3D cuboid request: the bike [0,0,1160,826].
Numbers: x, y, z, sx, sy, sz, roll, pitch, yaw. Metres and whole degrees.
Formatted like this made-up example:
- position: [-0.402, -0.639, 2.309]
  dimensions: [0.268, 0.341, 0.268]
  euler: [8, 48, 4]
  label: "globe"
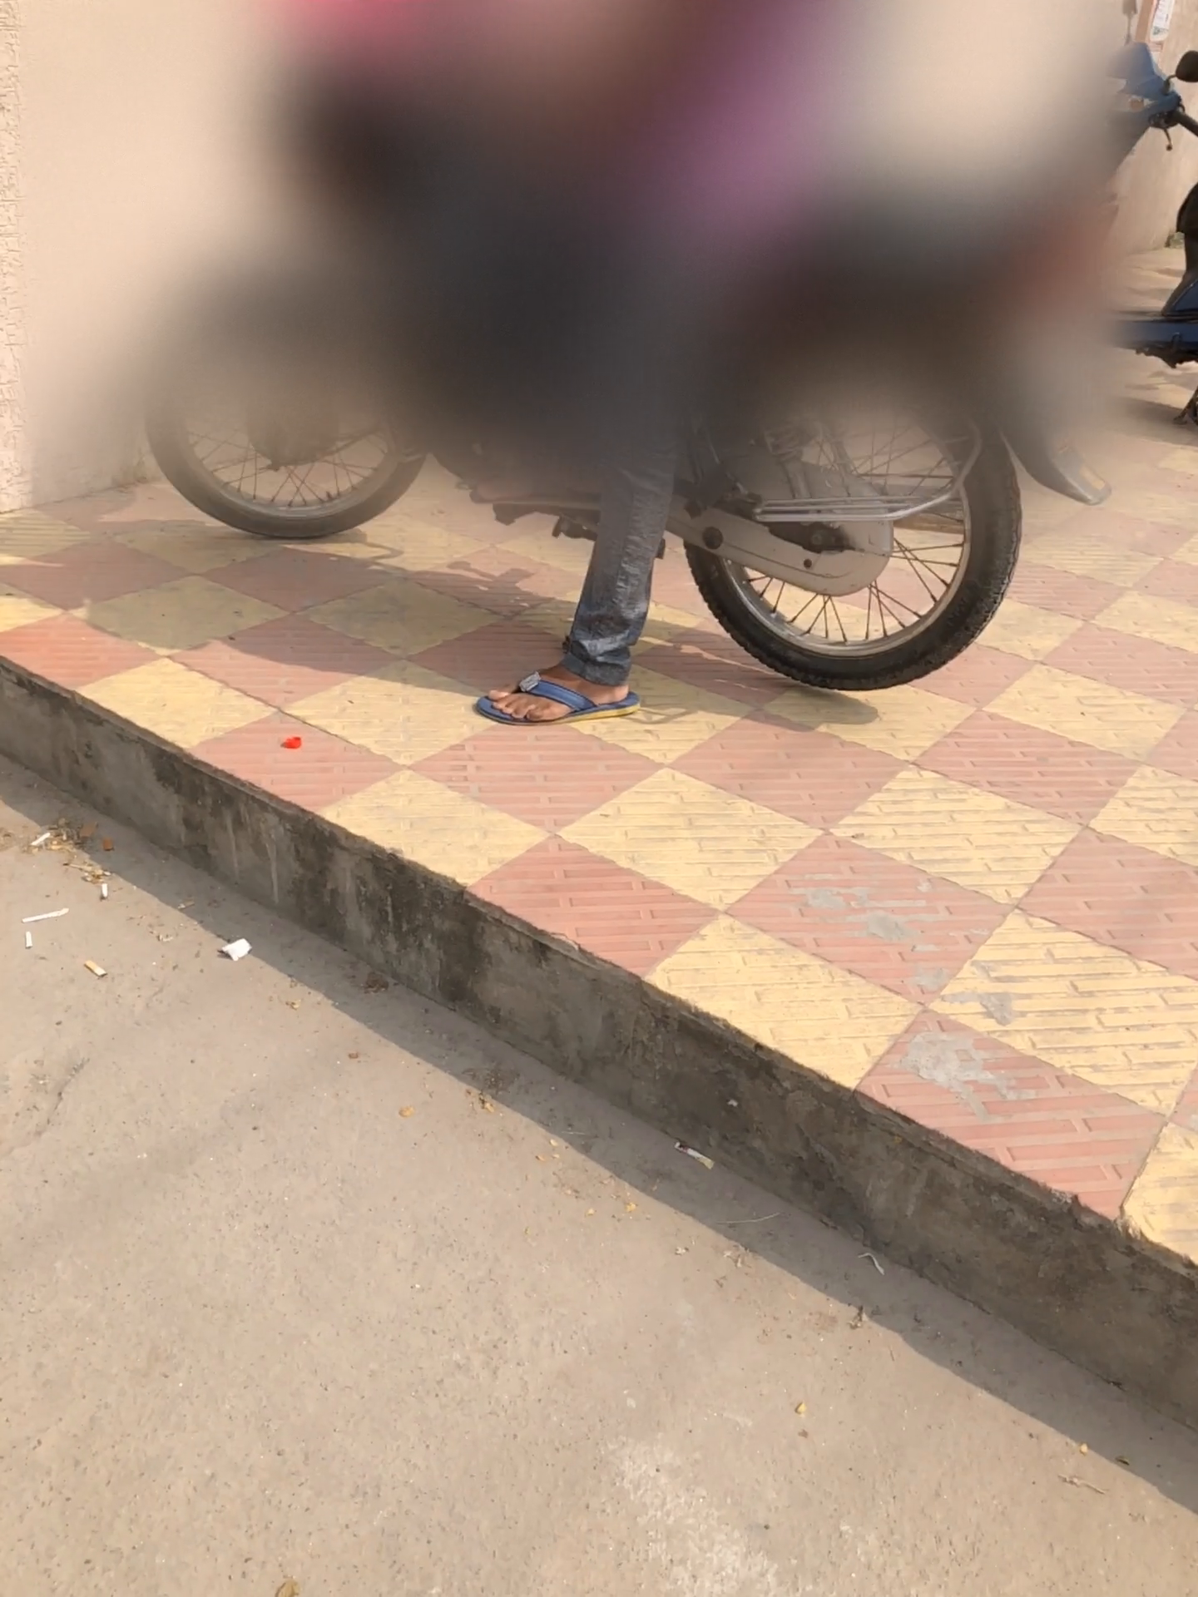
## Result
- position: [-0.122, -0.808, 2.300]
  dimensions: [1.720, 1.066, 0.898]
  euler: [14, 31, 17]
  label: "bike"
